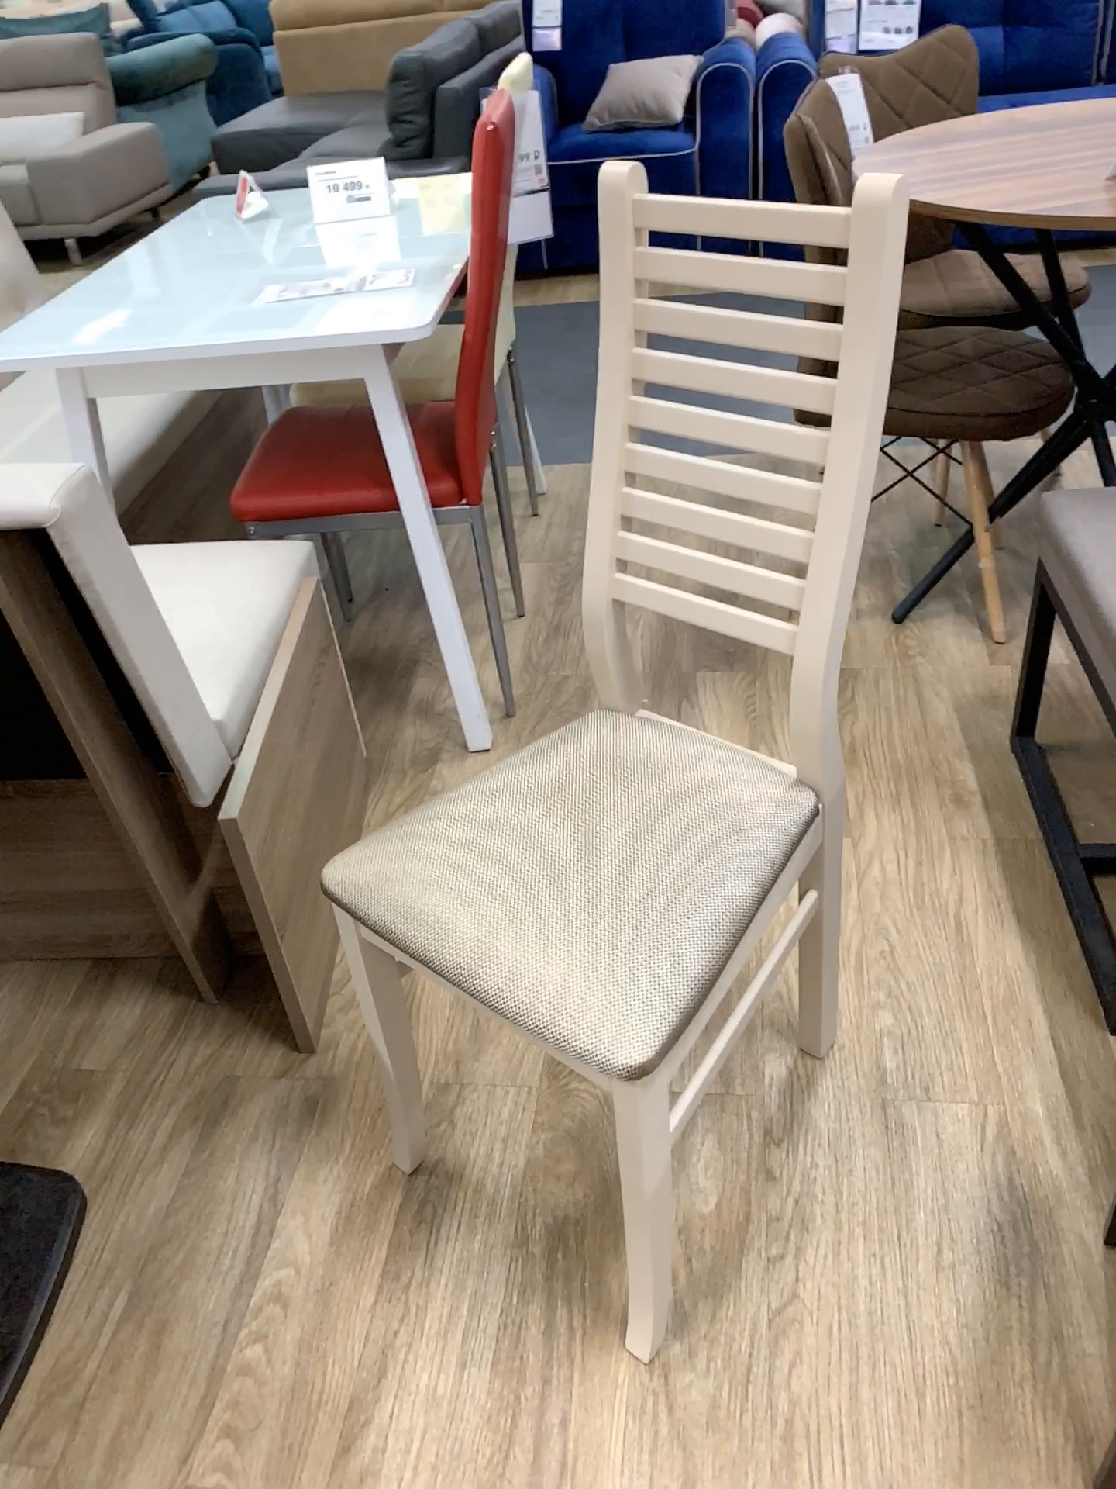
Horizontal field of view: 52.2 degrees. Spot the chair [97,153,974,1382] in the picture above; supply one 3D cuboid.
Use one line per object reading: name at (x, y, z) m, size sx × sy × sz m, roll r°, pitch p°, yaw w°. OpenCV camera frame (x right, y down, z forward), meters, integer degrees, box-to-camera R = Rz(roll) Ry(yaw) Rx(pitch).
chair at (0.040, 0.038, 1.063) m, size 0.391 × 0.970 × 0.474 m, roll 23°, pitch 45°, yaw 35°
